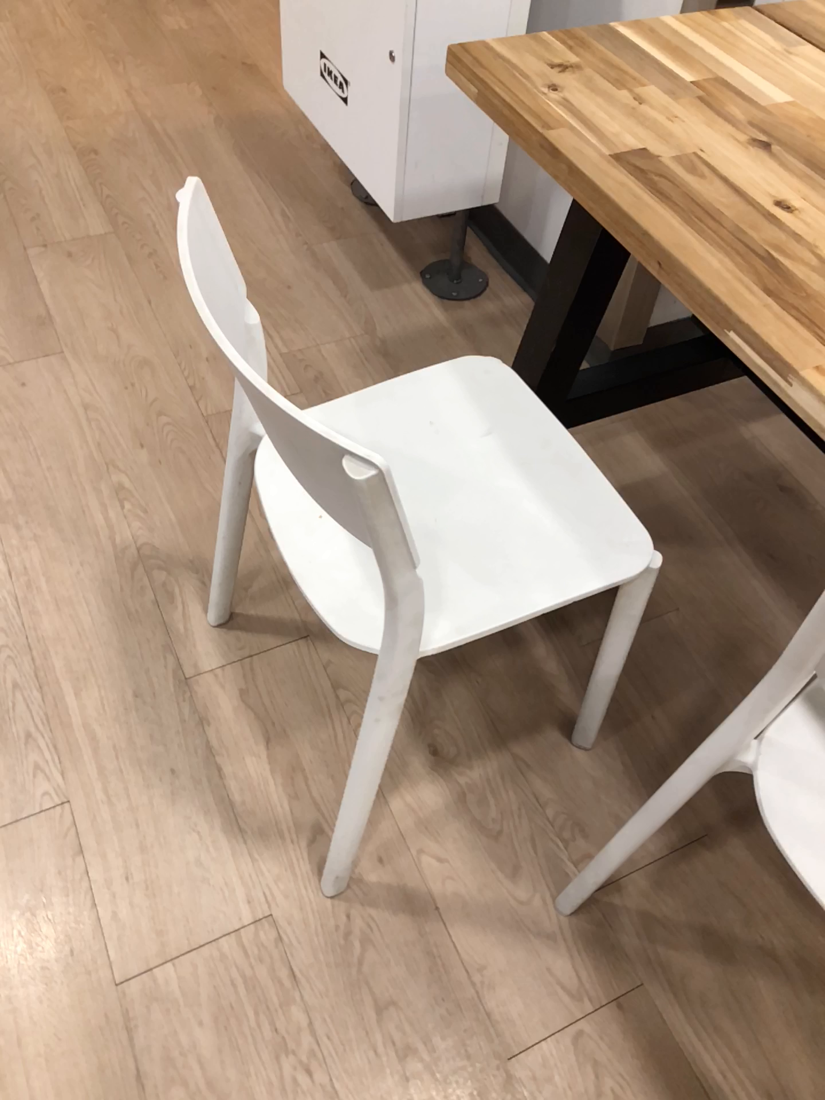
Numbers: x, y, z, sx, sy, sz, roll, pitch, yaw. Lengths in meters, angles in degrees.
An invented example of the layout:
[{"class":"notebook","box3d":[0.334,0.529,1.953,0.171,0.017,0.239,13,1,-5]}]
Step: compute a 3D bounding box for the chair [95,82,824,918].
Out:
[{"class":"chair","box3d":[0.040,-0.042,1.086,0.561,0.716,0.532,-19,55,-20]}]
